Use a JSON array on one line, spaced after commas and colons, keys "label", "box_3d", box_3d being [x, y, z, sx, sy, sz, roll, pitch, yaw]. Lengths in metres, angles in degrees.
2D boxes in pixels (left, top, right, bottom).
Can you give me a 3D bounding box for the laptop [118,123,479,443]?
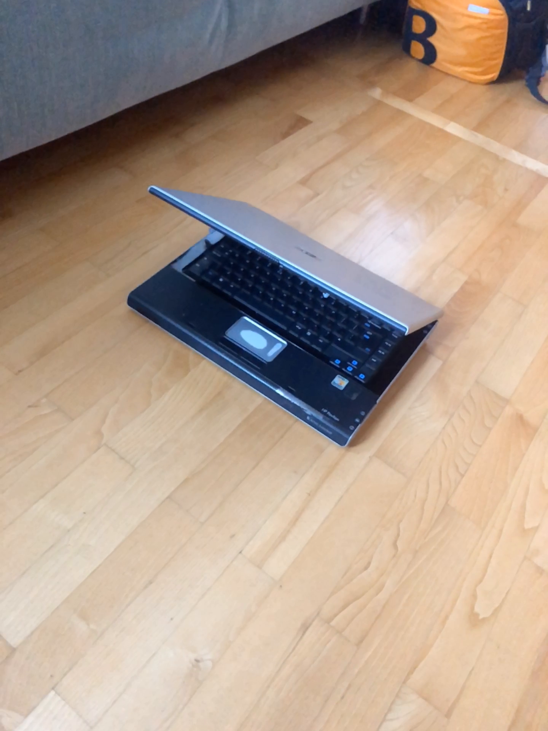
[{"label": "laptop", "box_3d": [0.027, -0.128, 0.803, 0.362, 0.147, 0.269, 32, 54, 16]}]
